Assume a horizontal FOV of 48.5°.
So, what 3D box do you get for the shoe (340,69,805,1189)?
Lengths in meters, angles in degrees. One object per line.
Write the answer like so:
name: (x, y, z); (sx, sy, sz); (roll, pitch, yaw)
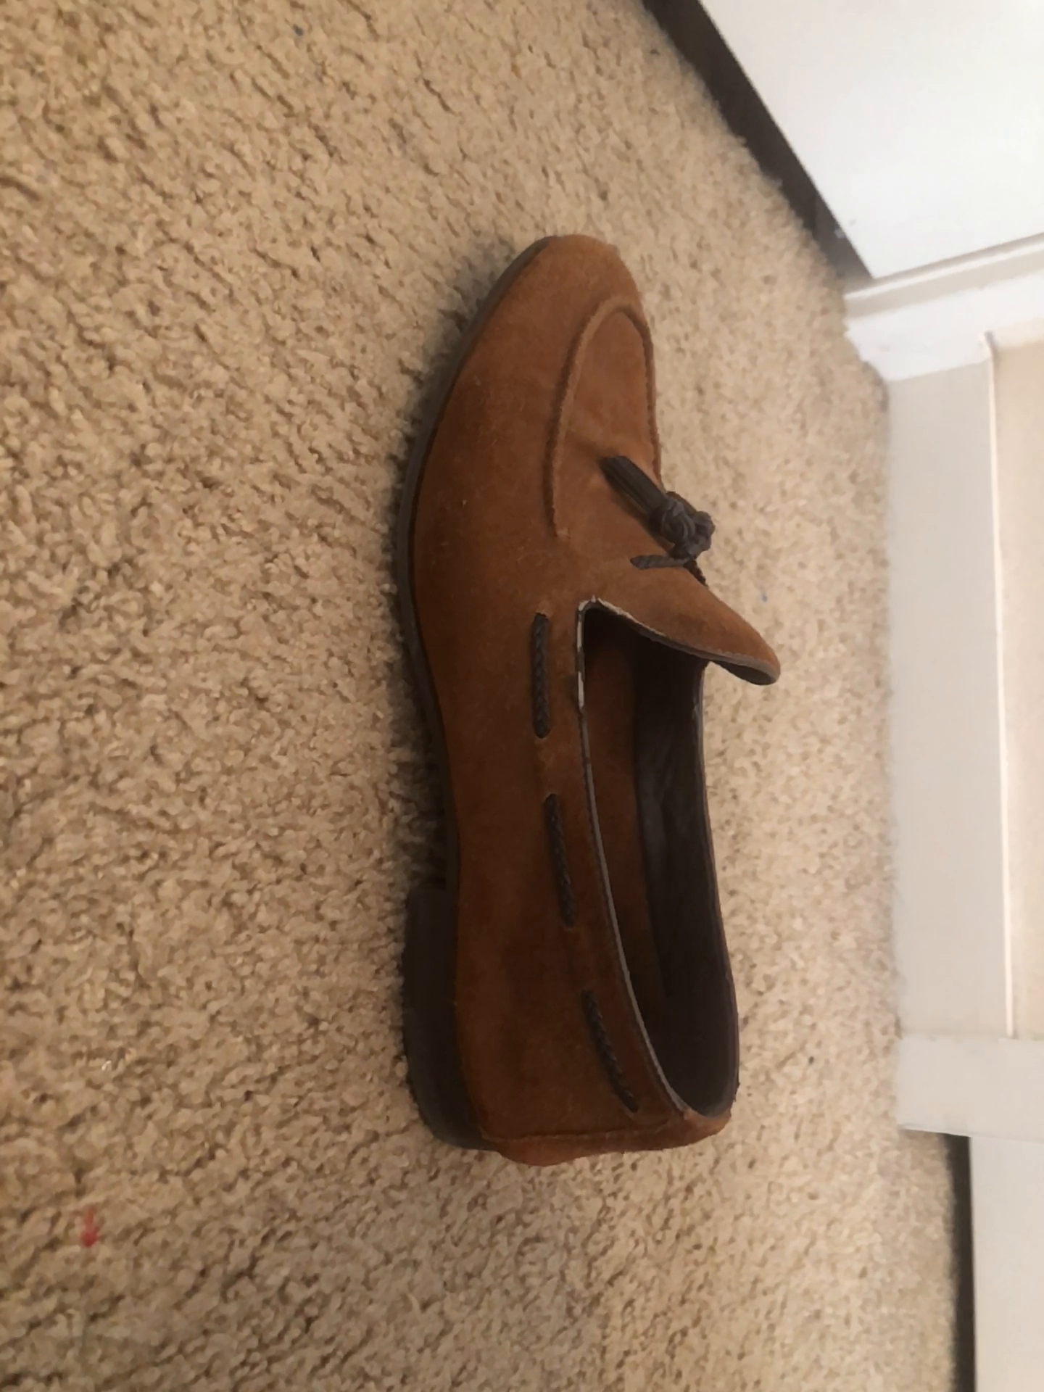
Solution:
shoe: (0.023, -0.019, 0.357); (0.091, 0.099, 0.292); (19, 70, -55)
